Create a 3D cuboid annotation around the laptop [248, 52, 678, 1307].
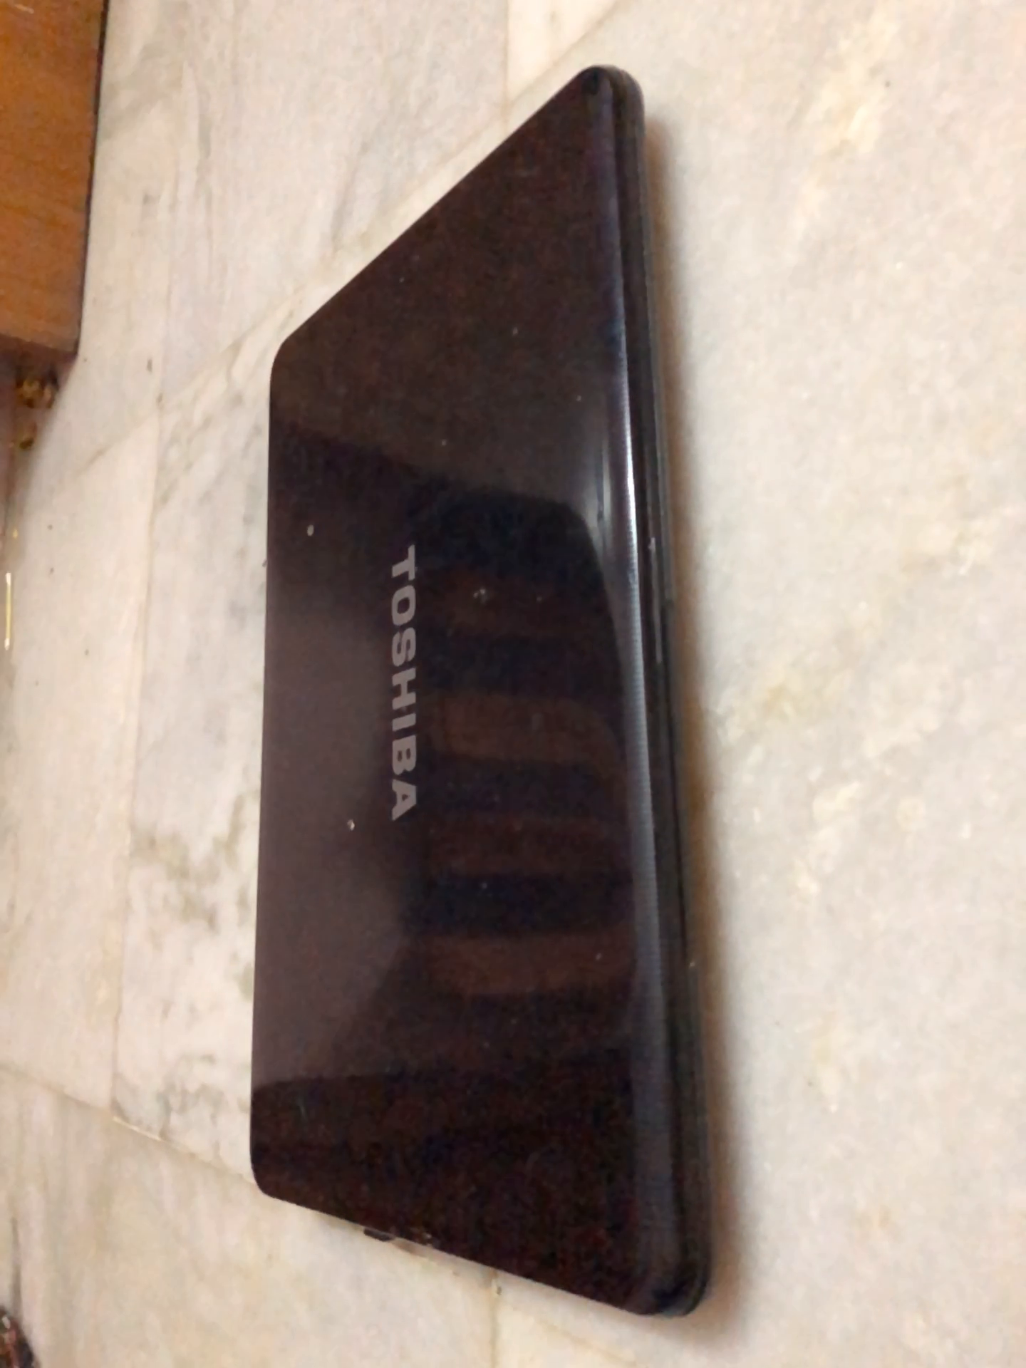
[{"bbox_3d":[-0.036,-0.002,0.399,0.225,0.004,0.359,-18,69,49],"label":"laptop"}]
